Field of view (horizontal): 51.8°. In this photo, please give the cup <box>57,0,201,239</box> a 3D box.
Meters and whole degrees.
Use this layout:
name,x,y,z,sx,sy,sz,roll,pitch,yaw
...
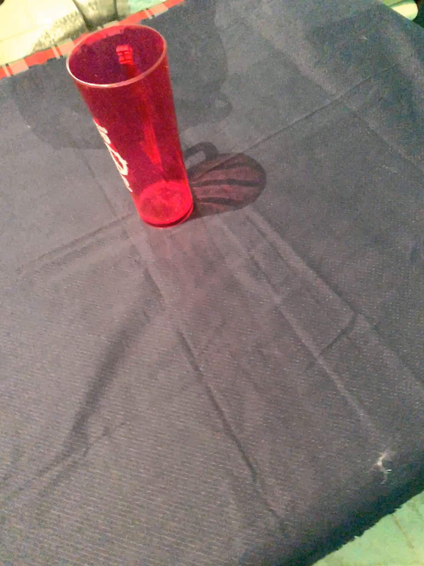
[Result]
name,x,y,z,sx,sy,sz,roll,pitch,yaw
cup,-0.059,-0.132,0.375,0.070,0.170,0.100,-8,60,3
